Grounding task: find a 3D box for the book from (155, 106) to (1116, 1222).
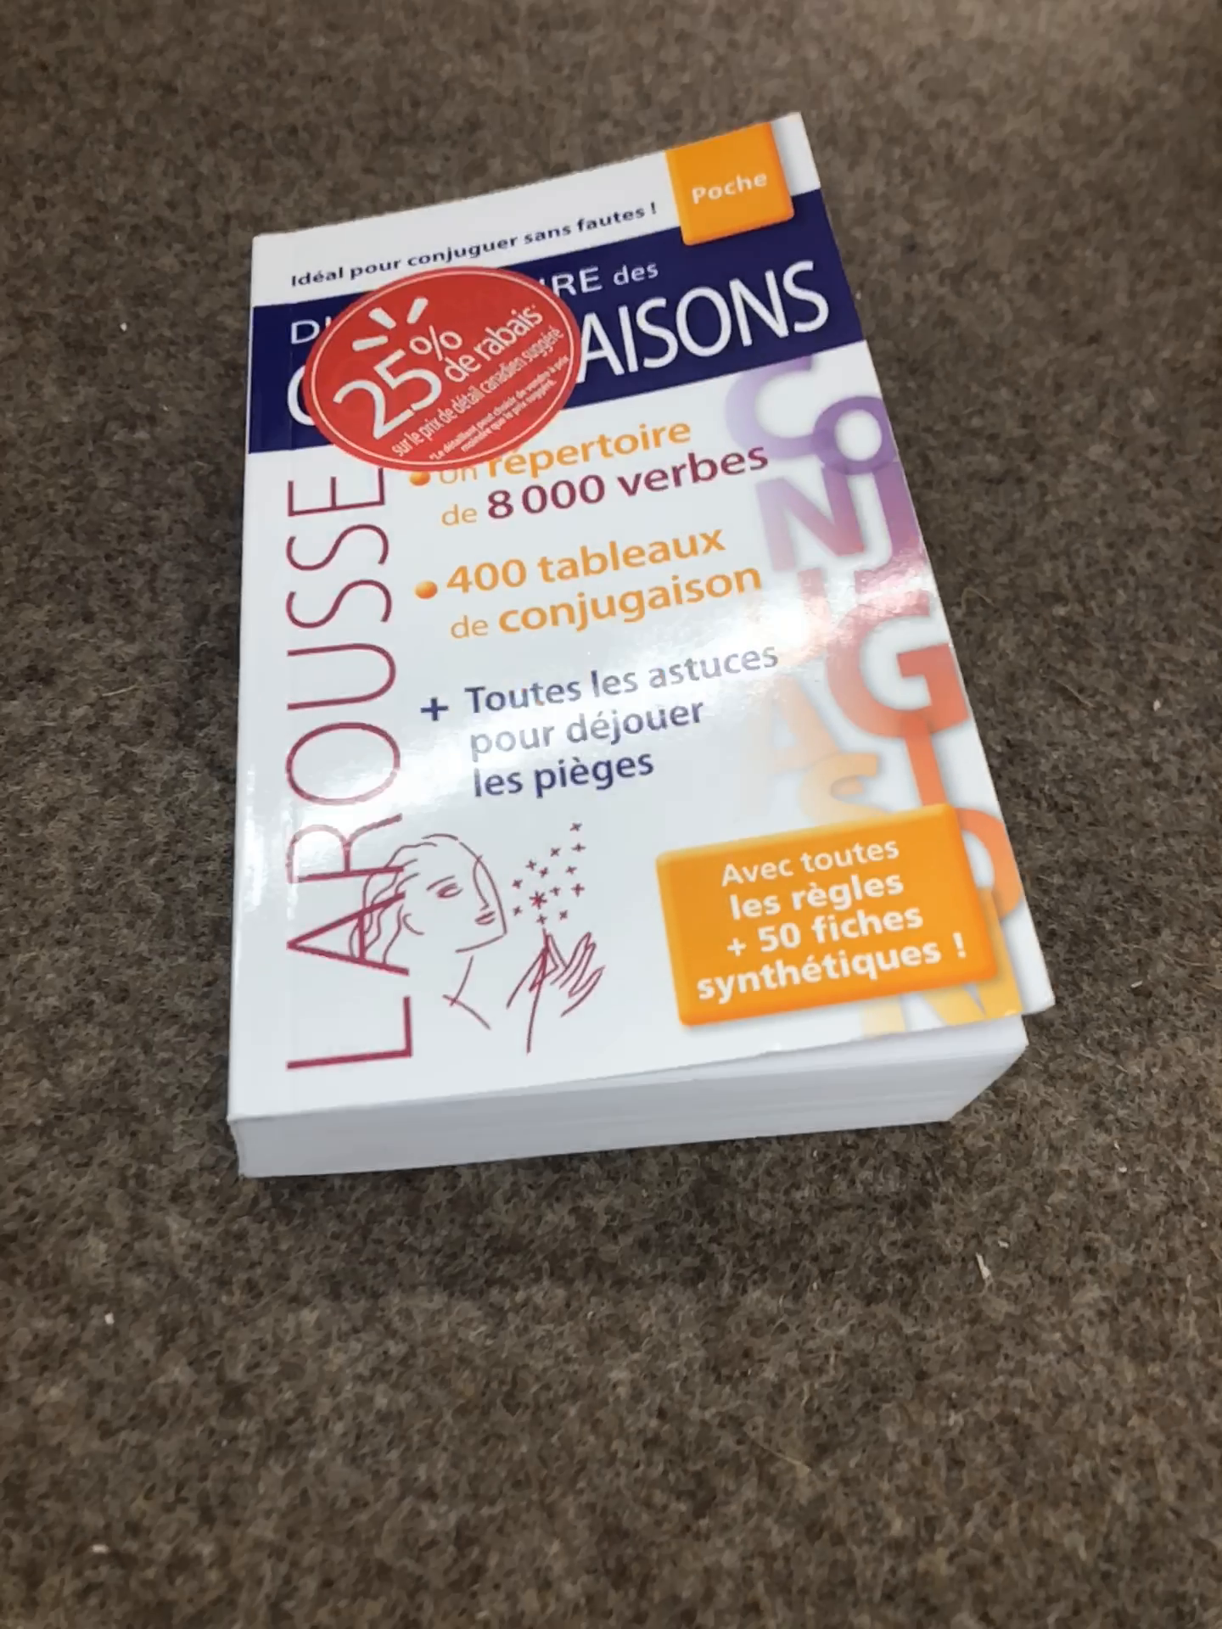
[{"bbox_3d":[-0.007,-0.040,0.249,0.124,0.059,0.200,-5,60,-5],"label":"book"}]
